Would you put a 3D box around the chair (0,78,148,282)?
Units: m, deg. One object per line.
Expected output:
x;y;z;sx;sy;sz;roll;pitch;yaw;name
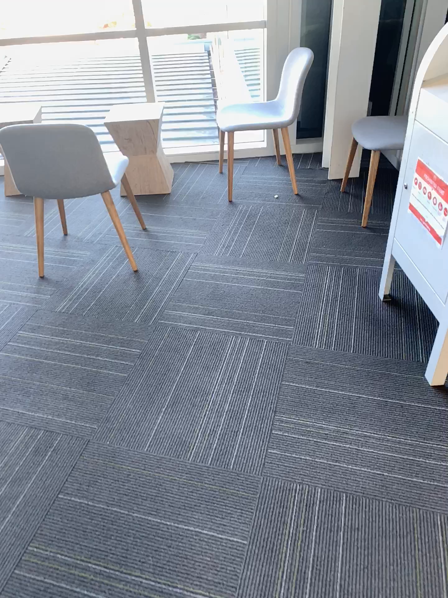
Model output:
-0.737;-0.594;2.269;0.560;0.765;0.604;-5;37;-1;chair

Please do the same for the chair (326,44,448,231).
0.980;-0.896;2.510;0.600;0.765;0.644;-6;38;-3;chair

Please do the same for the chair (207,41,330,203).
0.242;-1.114;2.855;0.600;0.745;0.644;-6;38;-3;chair
